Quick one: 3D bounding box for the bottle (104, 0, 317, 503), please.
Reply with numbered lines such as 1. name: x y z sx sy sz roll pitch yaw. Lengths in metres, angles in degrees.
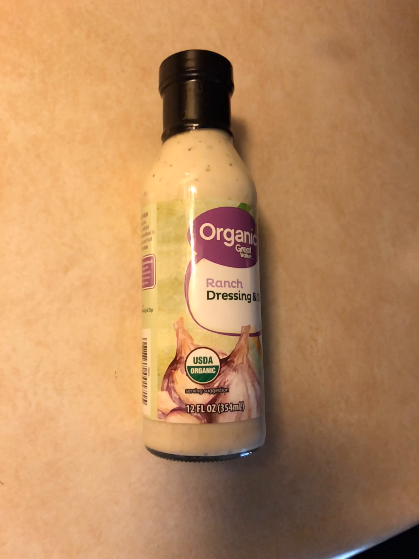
1. bottle: -0.002 -0.022 0.240 0.070 0.060 0.230 4 79 -44
